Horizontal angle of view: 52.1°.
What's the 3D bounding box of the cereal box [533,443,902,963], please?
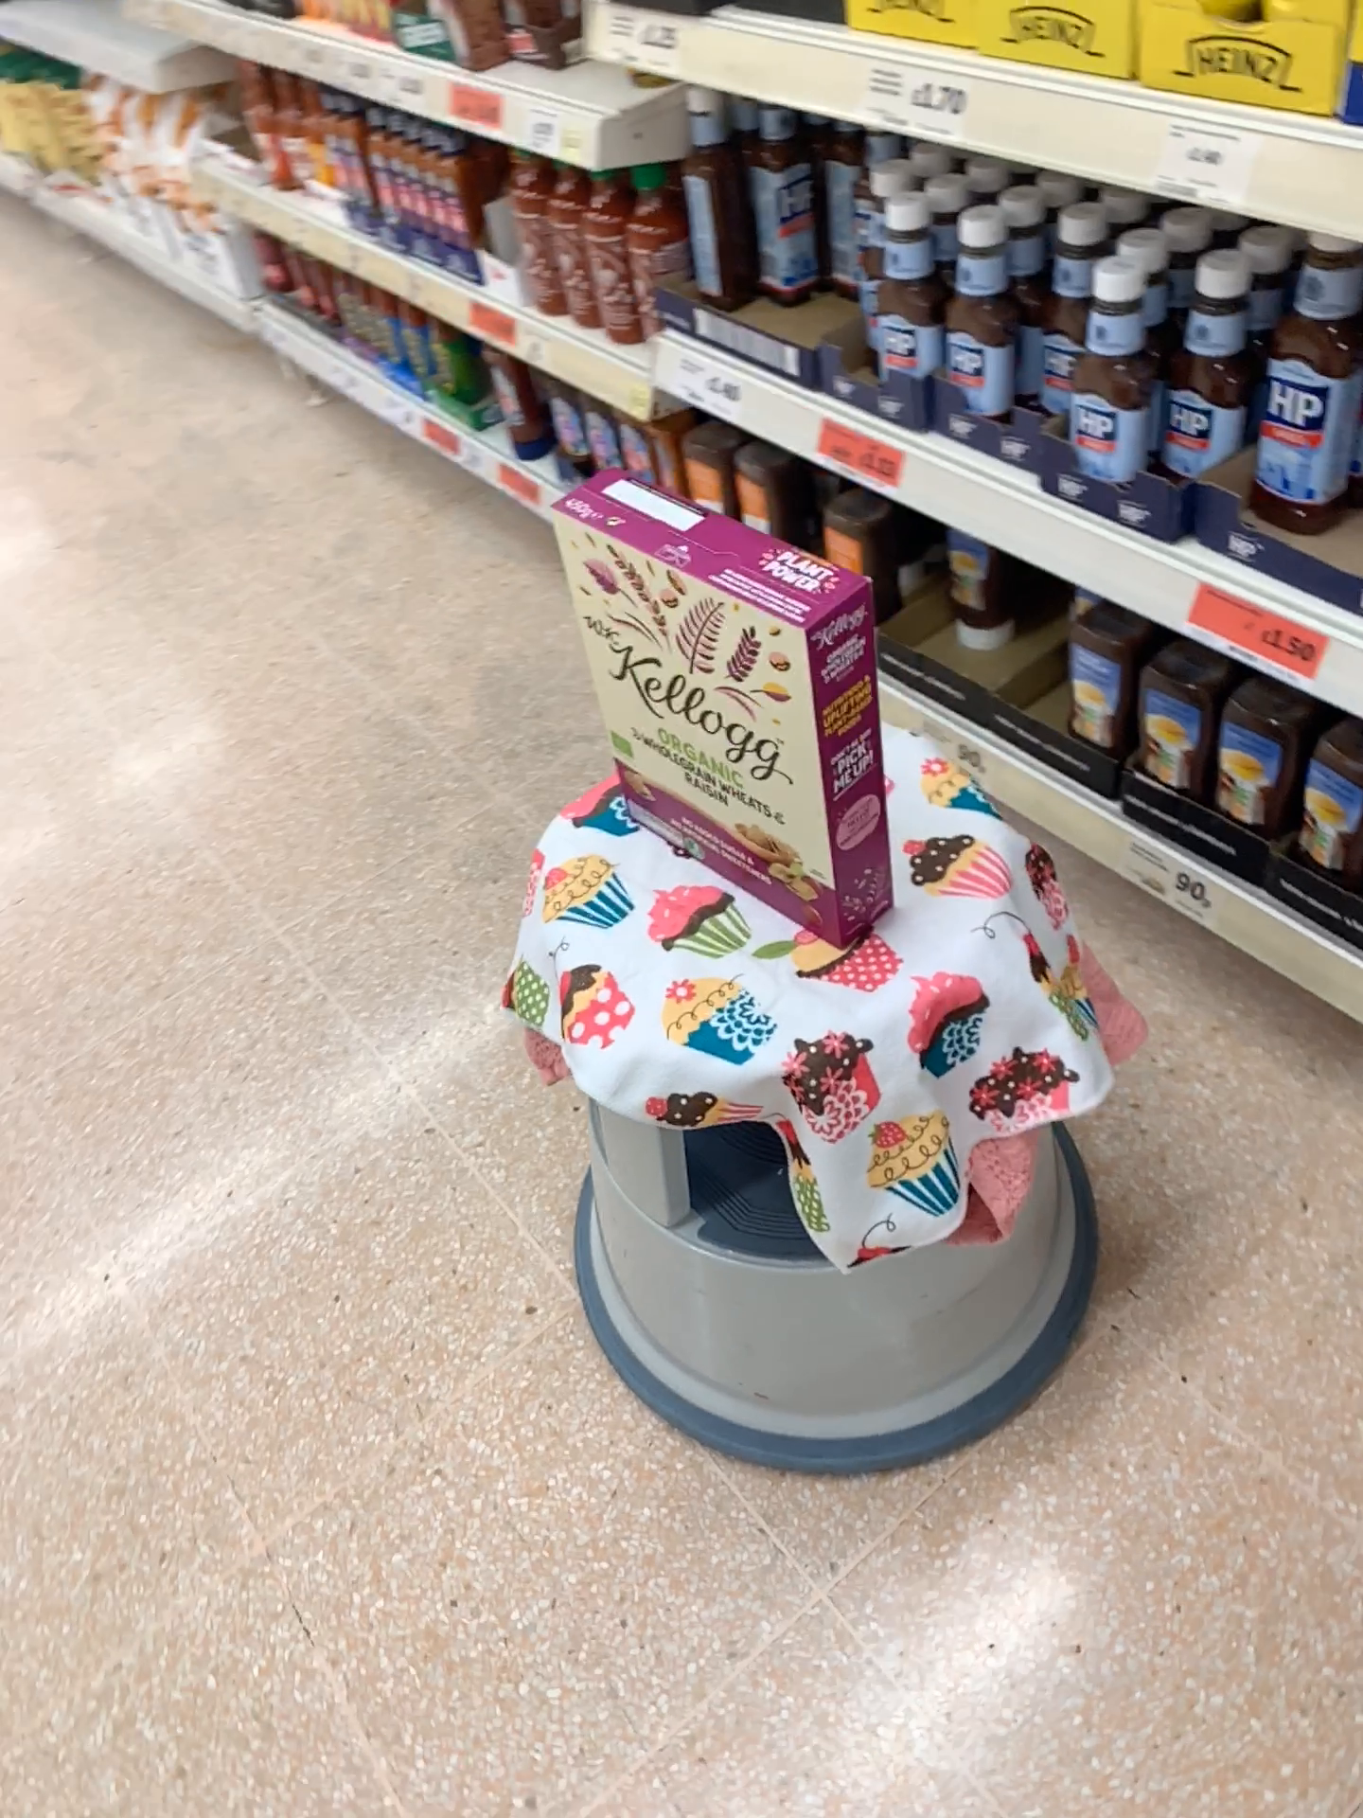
[{"bbox_3d":[0.026,-0.114,0.793,0.050,0.248,0.201,-38,50,-22],"label":"cereal box"}]
